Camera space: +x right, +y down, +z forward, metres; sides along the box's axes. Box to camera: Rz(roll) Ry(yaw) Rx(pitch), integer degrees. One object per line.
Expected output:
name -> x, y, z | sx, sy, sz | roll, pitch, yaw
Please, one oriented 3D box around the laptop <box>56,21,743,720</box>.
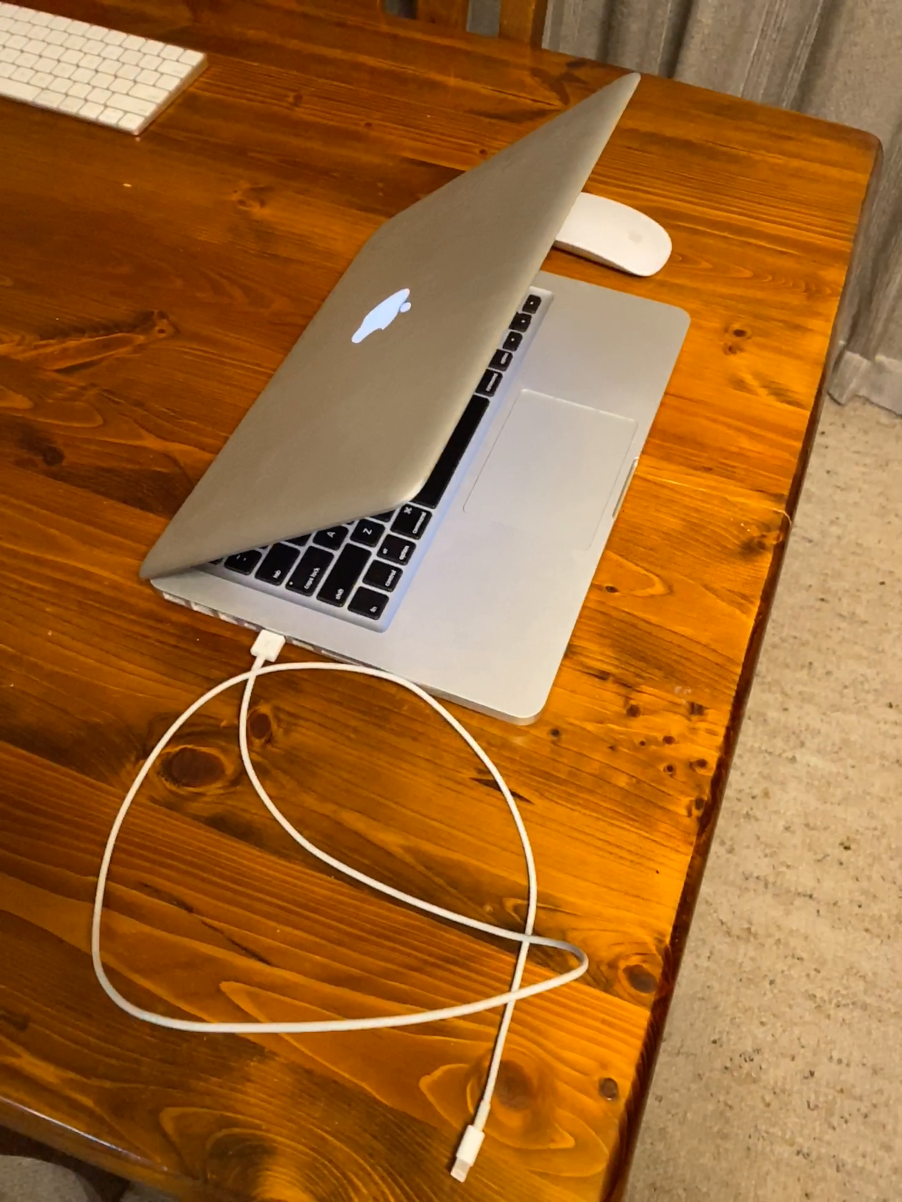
laptop -> -0.002, -0.135, 0.483 | 0.211, 0.136, 0.312 | 19, 60, 10
